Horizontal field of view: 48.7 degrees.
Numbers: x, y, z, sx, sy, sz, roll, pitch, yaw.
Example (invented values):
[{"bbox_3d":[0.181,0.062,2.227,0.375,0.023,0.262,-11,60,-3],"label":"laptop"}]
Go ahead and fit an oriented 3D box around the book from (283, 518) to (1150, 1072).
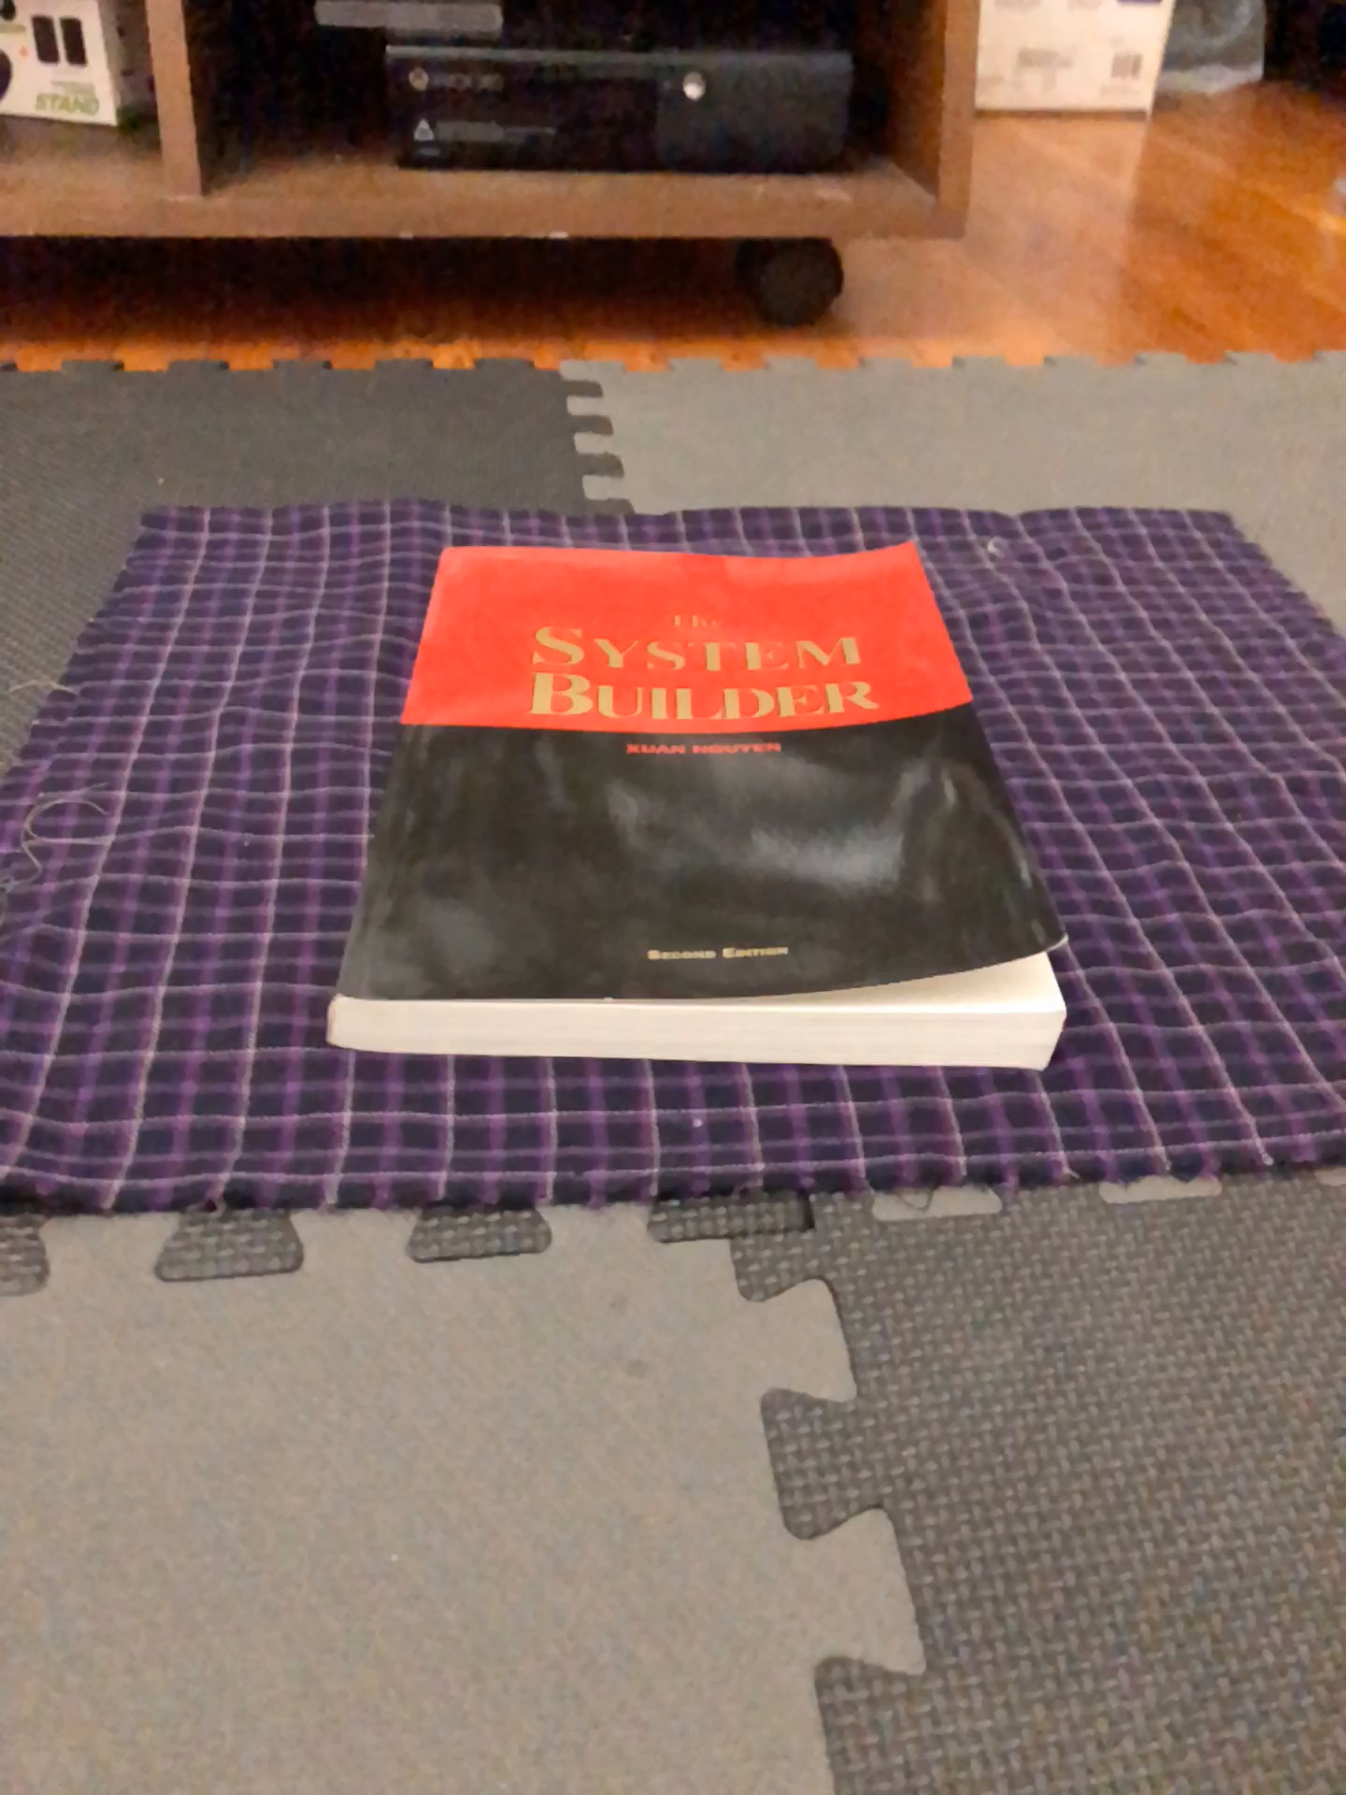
[{"bbox_3d":[0.008,-0.049,0.456,0.200,0.030,0.262,1,37,-2],"label":"book"}]
